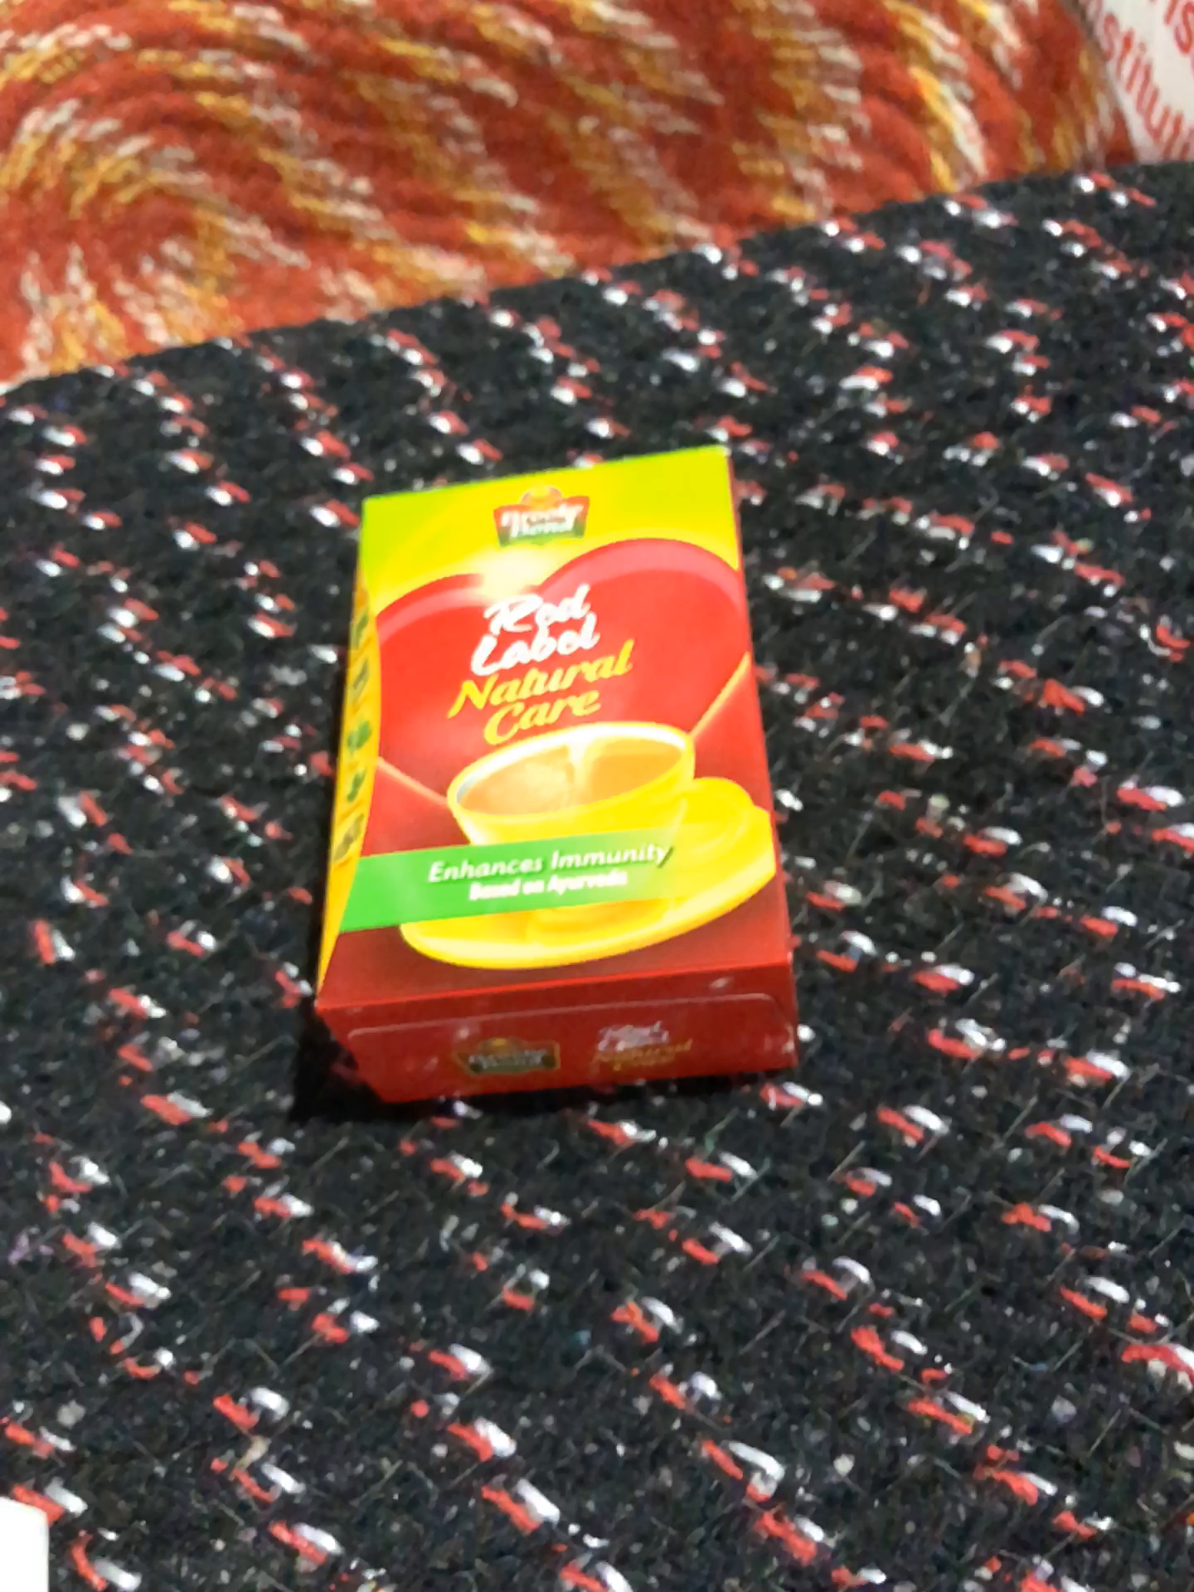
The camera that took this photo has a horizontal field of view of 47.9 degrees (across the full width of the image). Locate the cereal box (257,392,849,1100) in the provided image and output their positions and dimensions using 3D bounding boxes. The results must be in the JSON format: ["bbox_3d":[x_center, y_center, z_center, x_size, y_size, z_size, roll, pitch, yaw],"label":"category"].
[{"bbox_3d":[-0.006,-0.011,0.227,0.080,0.040,0.111,-5,56,4],"label":"cereal box"}]
